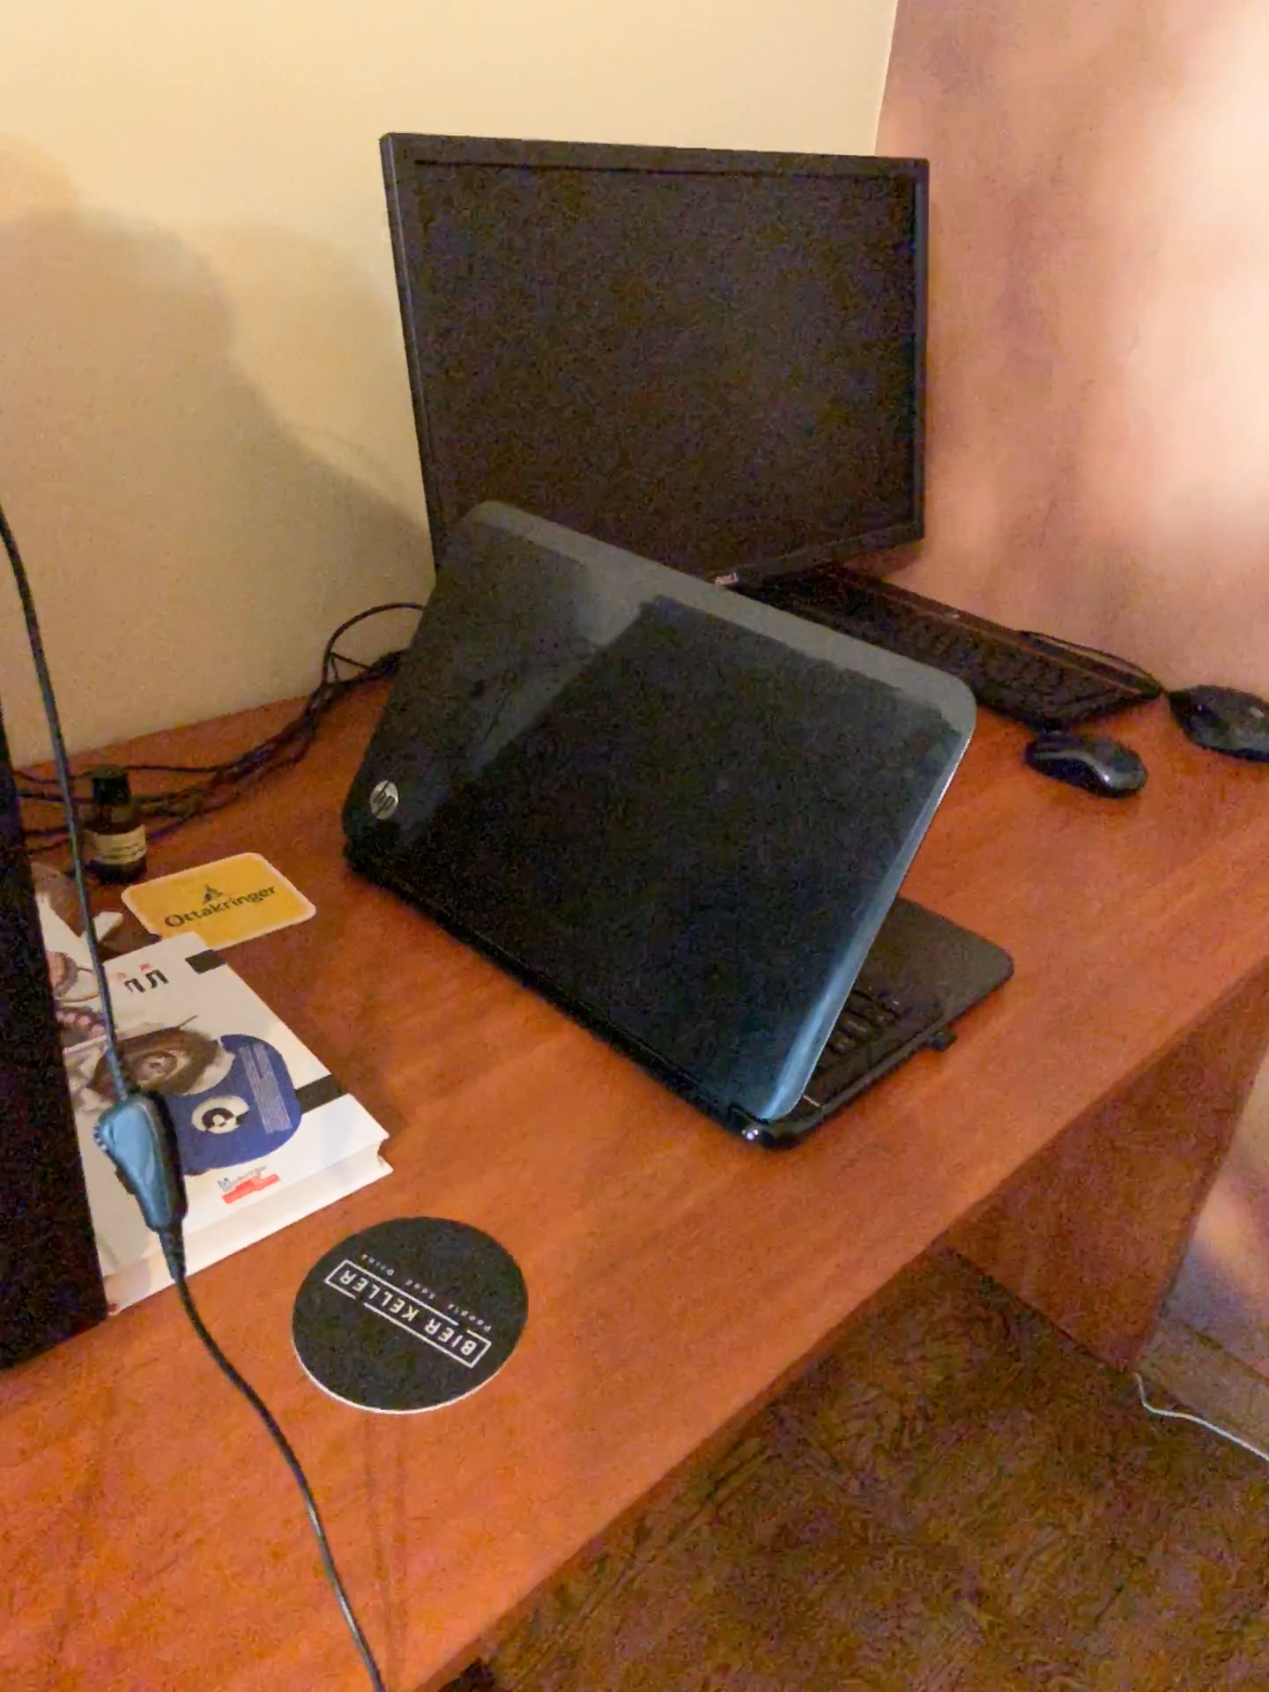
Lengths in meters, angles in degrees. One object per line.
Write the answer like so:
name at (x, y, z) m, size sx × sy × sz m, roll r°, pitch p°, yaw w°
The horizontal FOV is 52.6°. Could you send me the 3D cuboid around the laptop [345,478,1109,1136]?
laptop at (0.034, -0.054, 0.735) m, size 0.349 × 0.198 × 0.223 m, roll 30°, pitch 37°, yaw 34°
